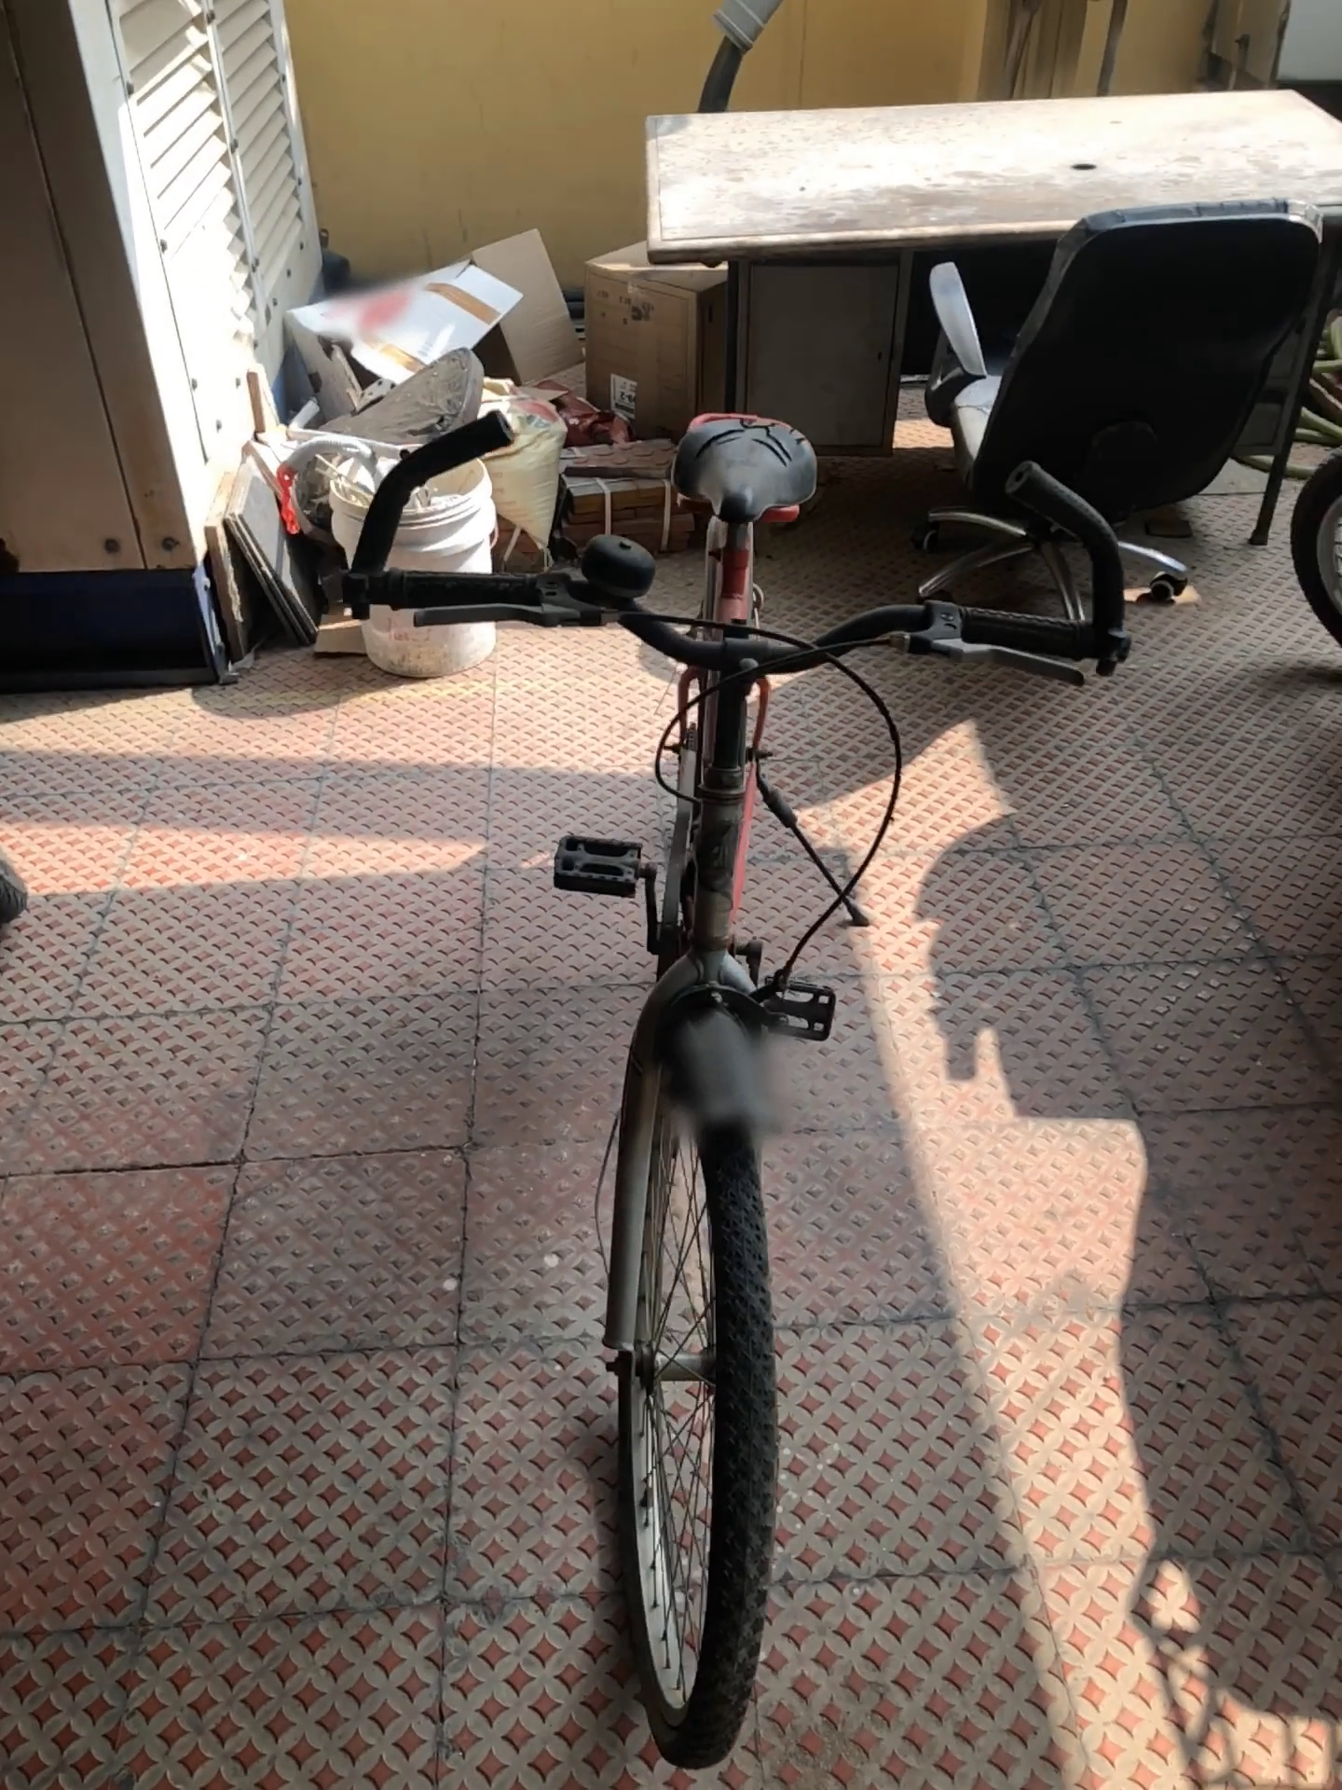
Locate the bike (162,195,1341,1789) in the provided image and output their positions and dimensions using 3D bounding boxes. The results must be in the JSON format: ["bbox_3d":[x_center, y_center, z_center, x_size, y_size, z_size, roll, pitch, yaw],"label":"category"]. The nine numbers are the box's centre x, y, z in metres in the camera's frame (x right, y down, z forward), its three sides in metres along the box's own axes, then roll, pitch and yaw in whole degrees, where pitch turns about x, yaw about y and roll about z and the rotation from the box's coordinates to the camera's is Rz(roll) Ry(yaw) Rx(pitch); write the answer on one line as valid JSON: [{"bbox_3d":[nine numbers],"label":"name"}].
[{"bbox_3d":[0.089,-0.052,1.576,0.575,0.963,1.620,1,37,1],"label":"bike"}]
